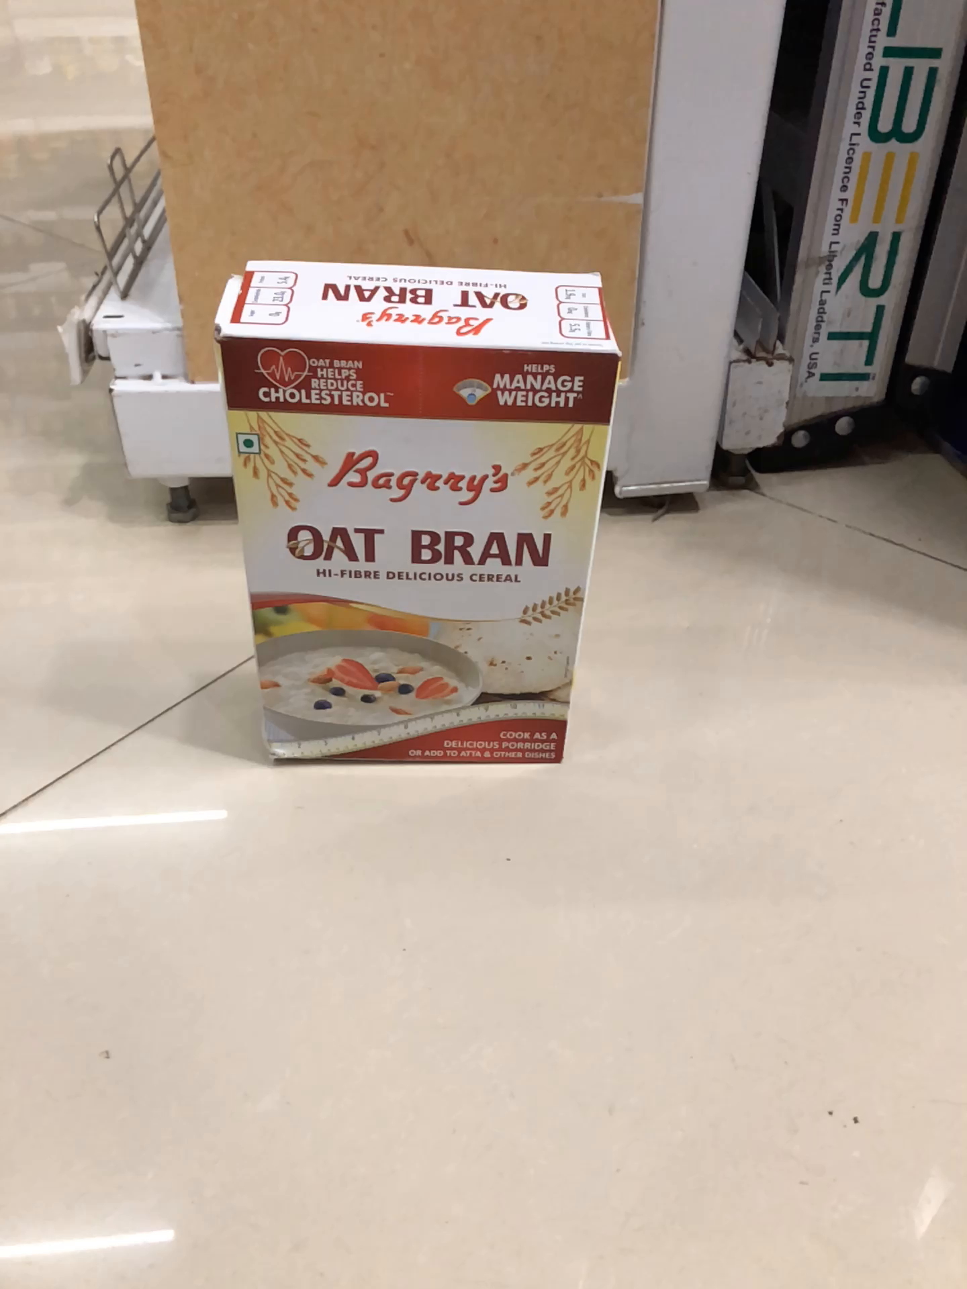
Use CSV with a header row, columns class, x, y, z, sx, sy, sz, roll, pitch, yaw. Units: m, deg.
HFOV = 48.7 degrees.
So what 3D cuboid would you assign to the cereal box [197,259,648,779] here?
class,x,y,z,sx,sy,sz,roll,pitch,yaw
cereal box,-0.021,-0.042,0.443,0.150,0.209,0.060,2,39,1
